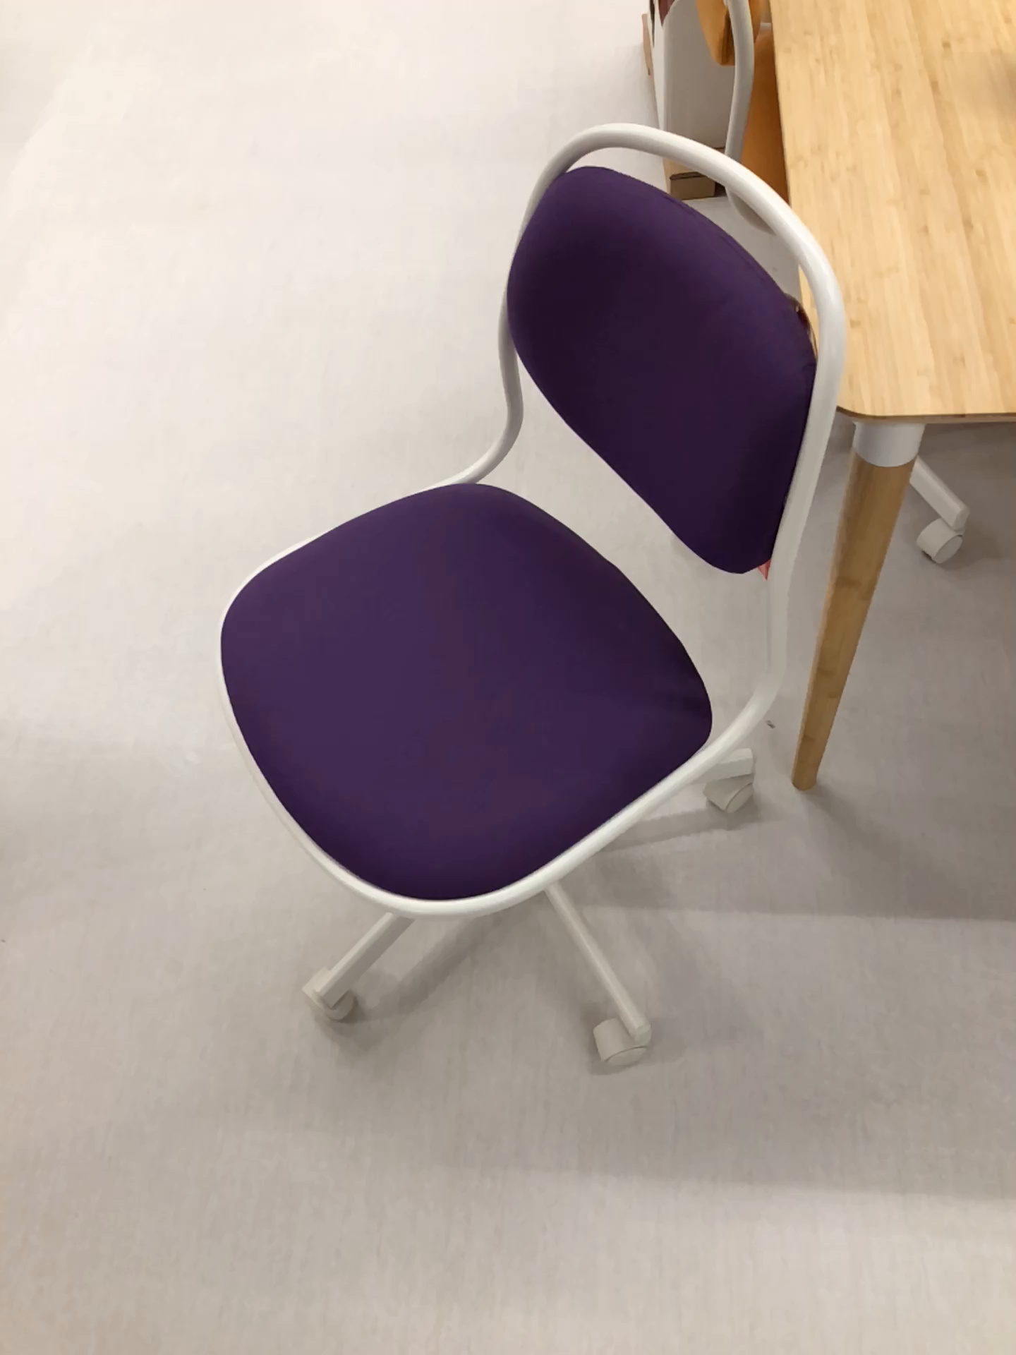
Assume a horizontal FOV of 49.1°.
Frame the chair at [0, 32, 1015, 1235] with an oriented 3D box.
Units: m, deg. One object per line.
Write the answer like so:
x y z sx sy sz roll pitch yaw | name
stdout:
-0.013 0.002 1.090 0.661 0.776 0.623 -30 58 -13 | chair
